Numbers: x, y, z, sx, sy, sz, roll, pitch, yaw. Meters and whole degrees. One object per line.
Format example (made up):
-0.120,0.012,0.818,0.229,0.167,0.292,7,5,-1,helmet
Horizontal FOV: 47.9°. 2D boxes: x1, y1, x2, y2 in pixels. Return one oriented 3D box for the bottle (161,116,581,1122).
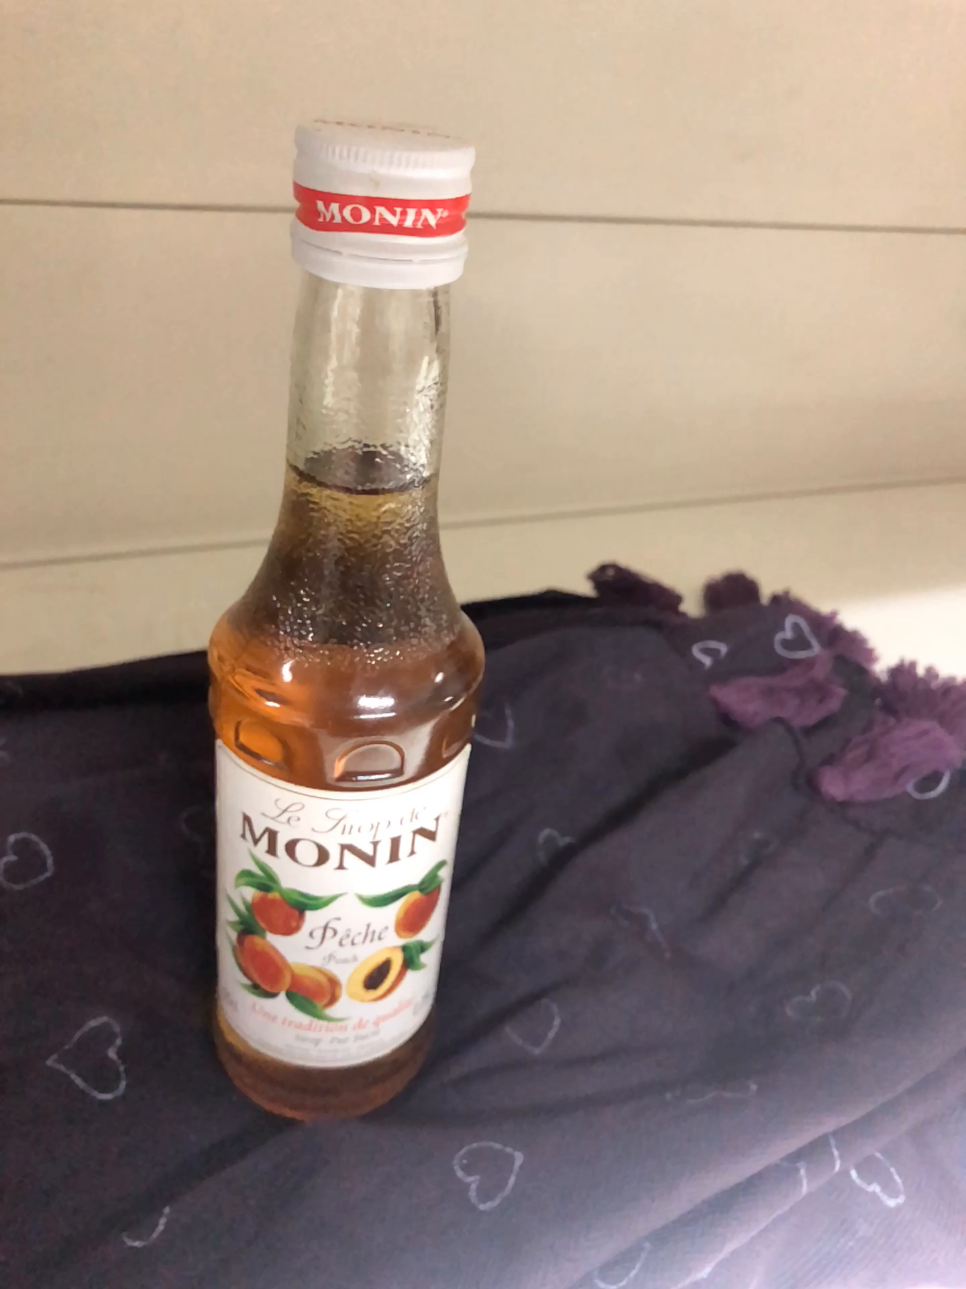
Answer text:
-0.028,0.008,0.233,0.060,0.209,0.060,5,29,-3,bottle
